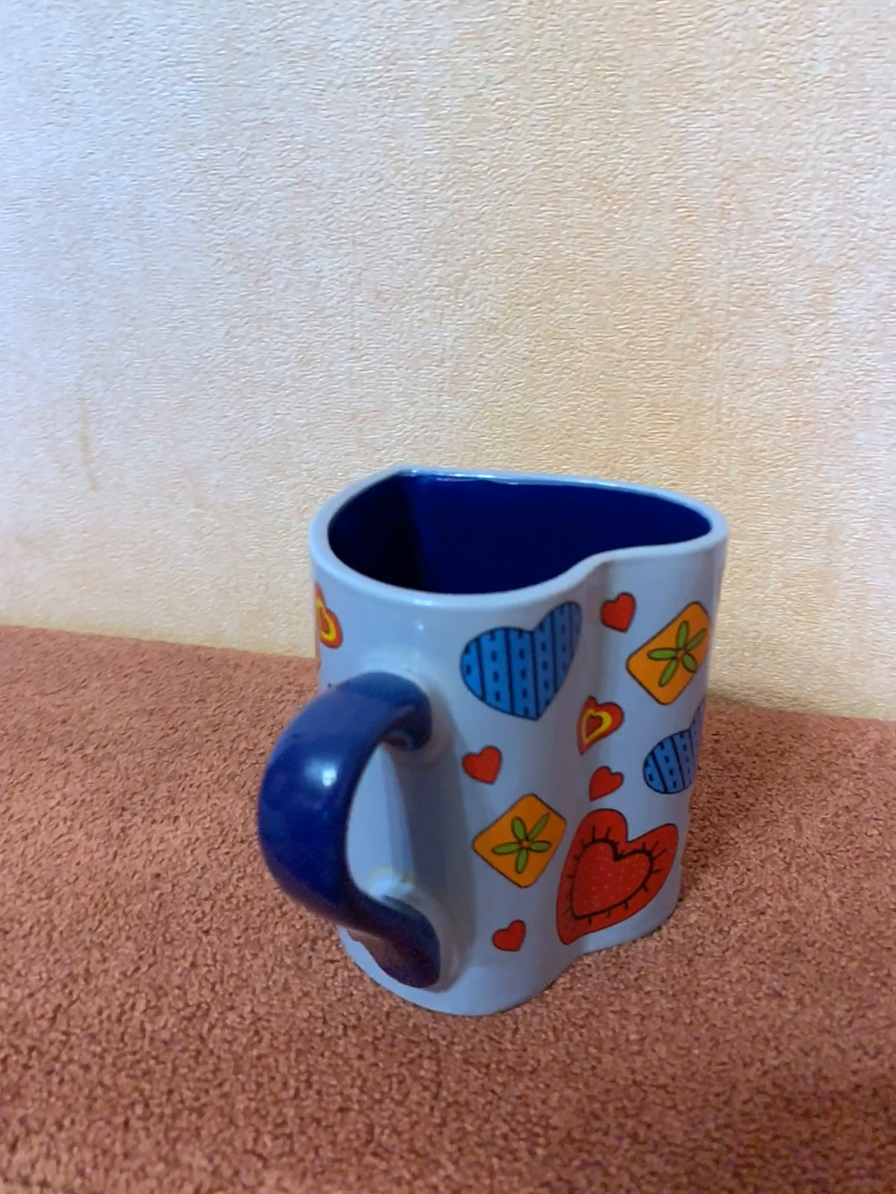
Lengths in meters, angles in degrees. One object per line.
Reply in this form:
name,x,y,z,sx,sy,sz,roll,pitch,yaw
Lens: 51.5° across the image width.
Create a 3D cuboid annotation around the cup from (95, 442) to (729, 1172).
cup,0.004,0.028,0.188,0.088,0.090,0.098,7,26,17
